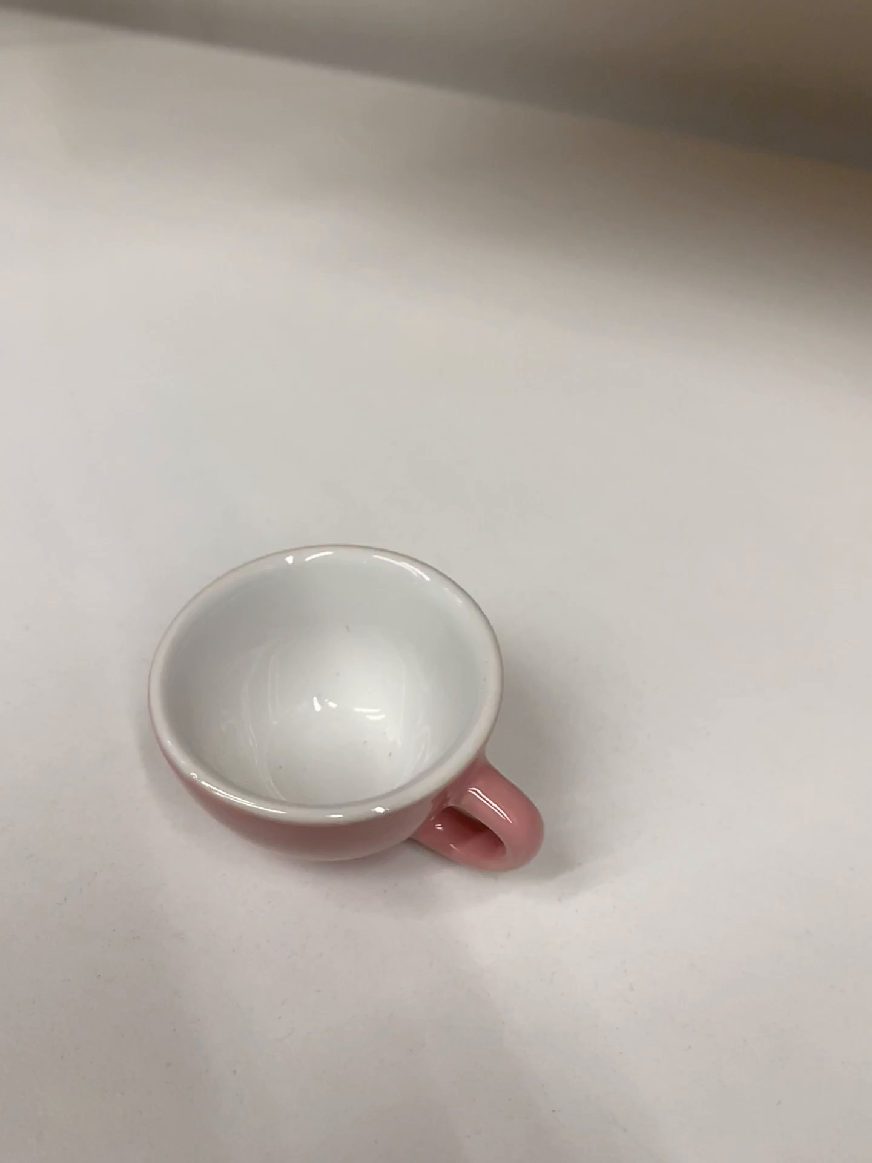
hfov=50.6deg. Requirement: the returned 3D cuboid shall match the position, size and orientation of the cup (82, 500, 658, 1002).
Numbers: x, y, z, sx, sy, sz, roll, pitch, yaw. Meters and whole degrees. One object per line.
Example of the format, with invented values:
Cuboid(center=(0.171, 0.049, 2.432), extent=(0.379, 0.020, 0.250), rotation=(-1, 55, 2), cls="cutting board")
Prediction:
Cuboid(center=(-0.009, 0.024, 0.143), extent=(0.070, 0.040, 0.040), rotation=(18, 47, 14), cls="cup")
